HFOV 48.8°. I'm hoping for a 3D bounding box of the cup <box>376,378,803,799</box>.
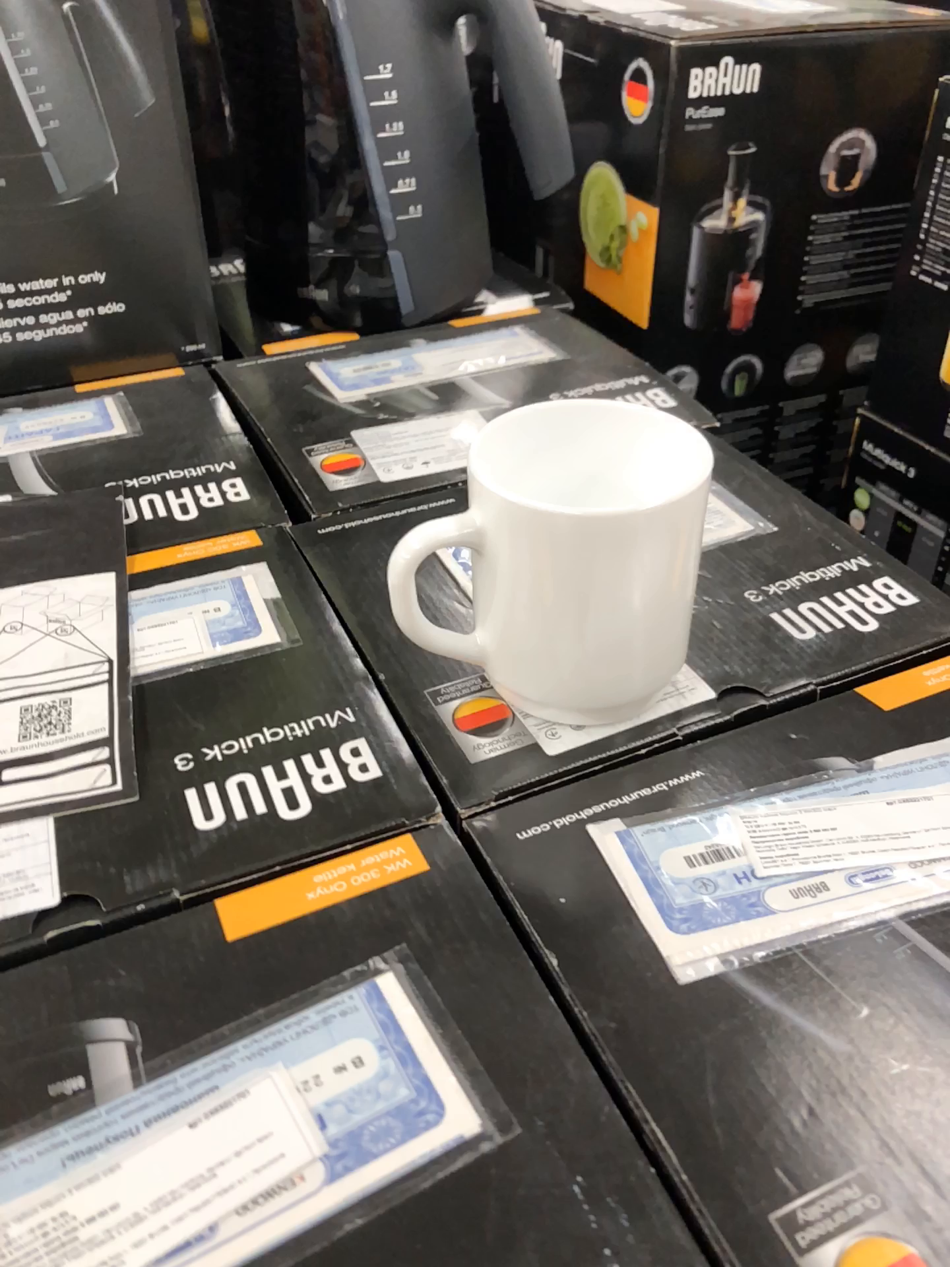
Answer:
[{"bbox_3d":[0.035,-0.019,0.357,0.110,0.091,0.083,-15,37,-13],"label":"cup"}]
